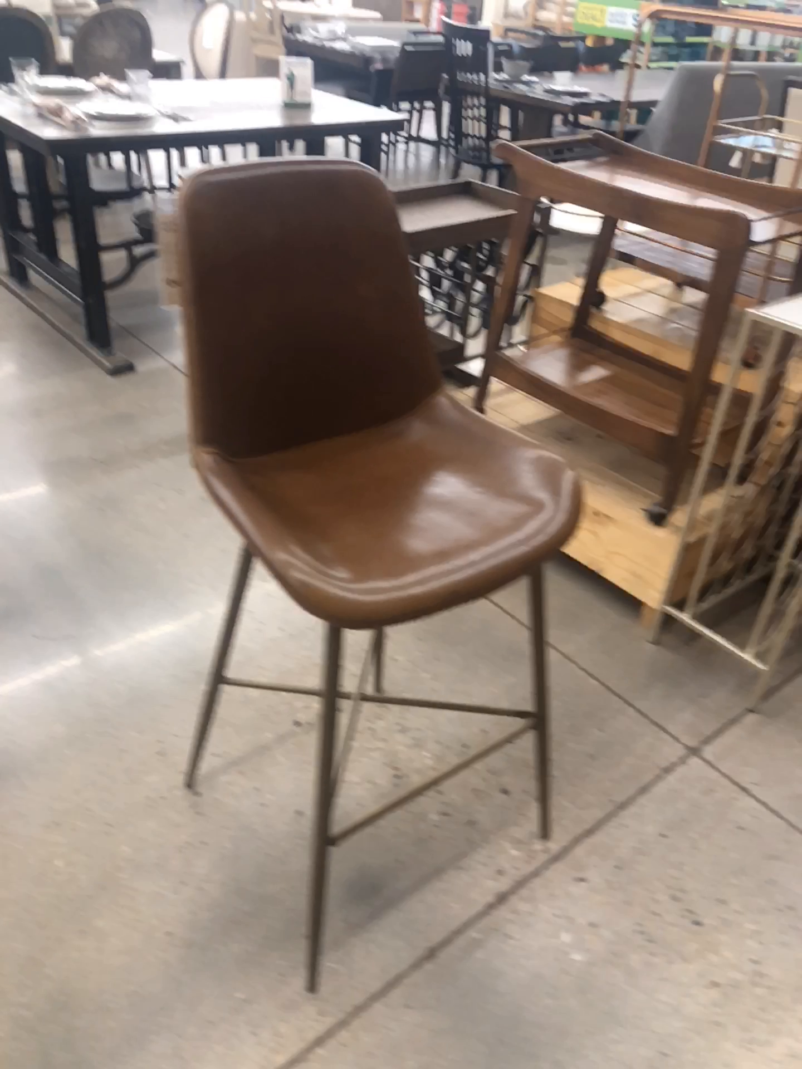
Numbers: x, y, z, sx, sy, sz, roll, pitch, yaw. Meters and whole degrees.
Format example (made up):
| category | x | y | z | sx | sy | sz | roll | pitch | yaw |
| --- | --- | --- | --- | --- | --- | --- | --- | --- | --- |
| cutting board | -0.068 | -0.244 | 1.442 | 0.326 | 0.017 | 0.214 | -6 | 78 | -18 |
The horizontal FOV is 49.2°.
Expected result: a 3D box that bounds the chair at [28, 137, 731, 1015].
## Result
| category | x | y | z | sx | sy | sz | roll | pitch | yaw |
| --- | --- | --- | --- | --- | --- | --- | --- | --- | --- |
| chair | -0.076 | 0.033 | 1.349 | 0.604 | 1.054 | 0.612 | -20 | 41 | -32 |
